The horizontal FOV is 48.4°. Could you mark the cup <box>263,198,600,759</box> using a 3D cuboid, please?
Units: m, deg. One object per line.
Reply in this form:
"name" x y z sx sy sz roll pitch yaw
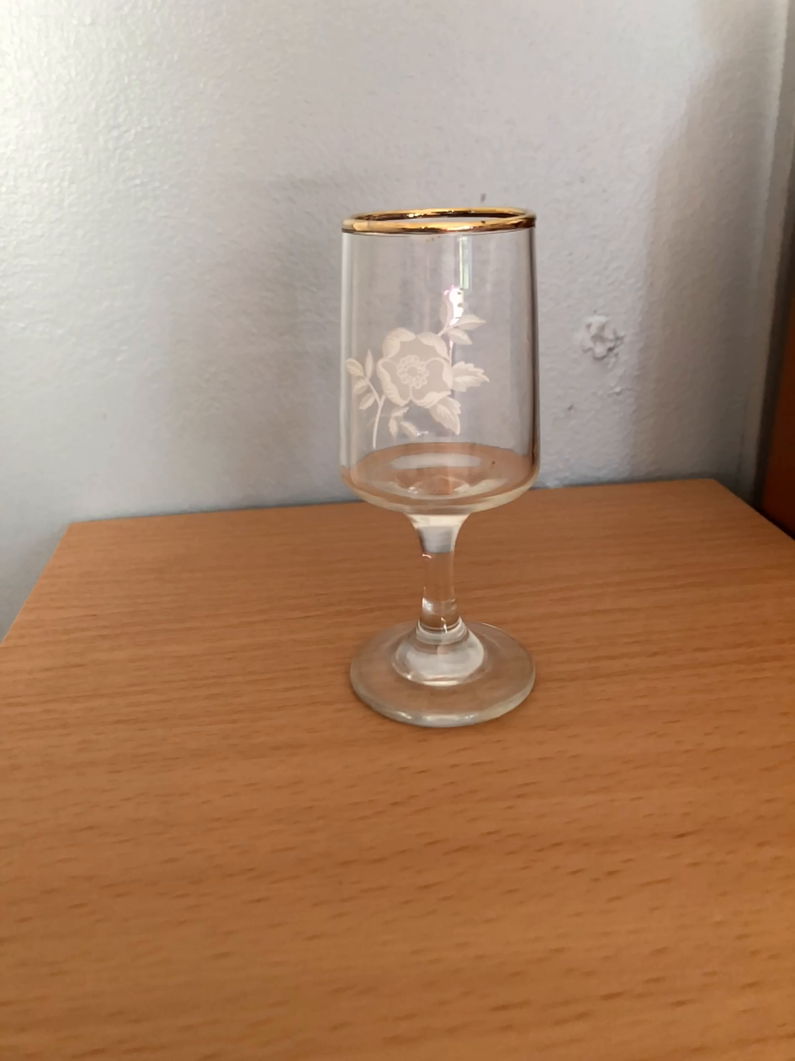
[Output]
"cup" 0.011 -0.015 0.198 0.052 0.108 0.056 -1 22 1
